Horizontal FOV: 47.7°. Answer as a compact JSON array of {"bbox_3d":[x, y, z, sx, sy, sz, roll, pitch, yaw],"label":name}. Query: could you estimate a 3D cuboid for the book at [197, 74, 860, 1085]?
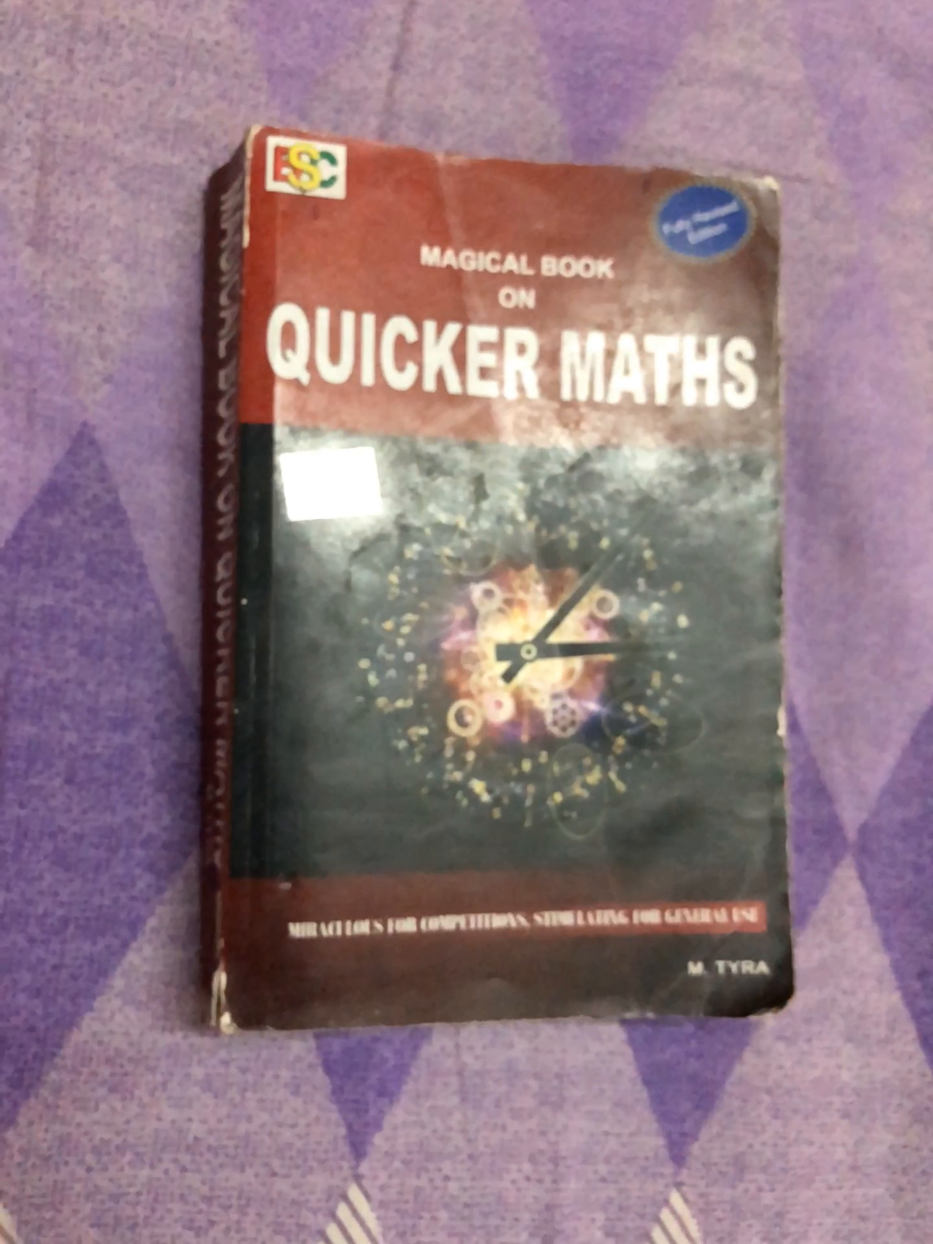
[{"bbox_3d":[0.013,-0.011,0.267,0.150,0.050,0.220,1,84,-11],"label":"book"}]
